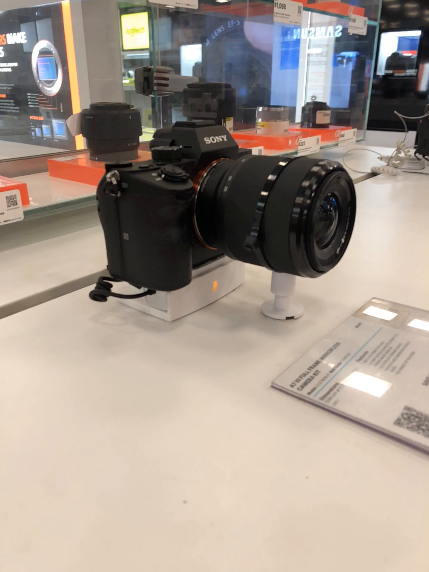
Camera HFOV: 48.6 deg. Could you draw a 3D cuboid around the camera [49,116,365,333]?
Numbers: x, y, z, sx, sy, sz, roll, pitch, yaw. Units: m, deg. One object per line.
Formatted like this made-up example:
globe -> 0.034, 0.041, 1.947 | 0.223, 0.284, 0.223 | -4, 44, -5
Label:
camera -> -0.004, -0.059, 0.328 | 0.160, 0.100, 0.130 | 16, 28, 34
